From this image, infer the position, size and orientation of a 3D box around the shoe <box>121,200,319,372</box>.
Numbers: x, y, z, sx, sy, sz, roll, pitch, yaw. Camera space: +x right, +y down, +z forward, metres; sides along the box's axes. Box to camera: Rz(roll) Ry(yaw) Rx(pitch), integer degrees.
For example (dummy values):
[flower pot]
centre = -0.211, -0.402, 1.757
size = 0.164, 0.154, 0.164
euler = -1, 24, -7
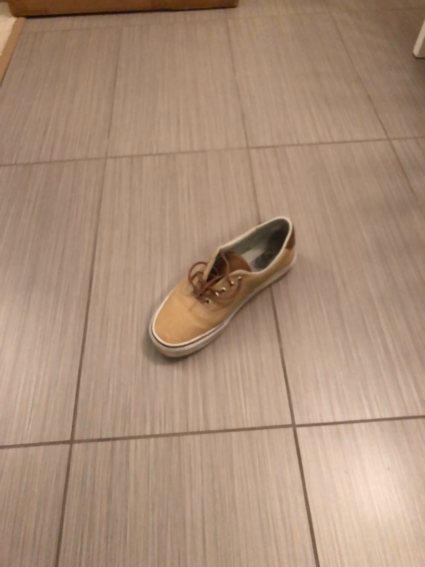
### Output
[shoe]
centre = 0.020, -0.007, 0.754
size = 0.311, 0.070, 0.110
euler = -36, 59, -23
